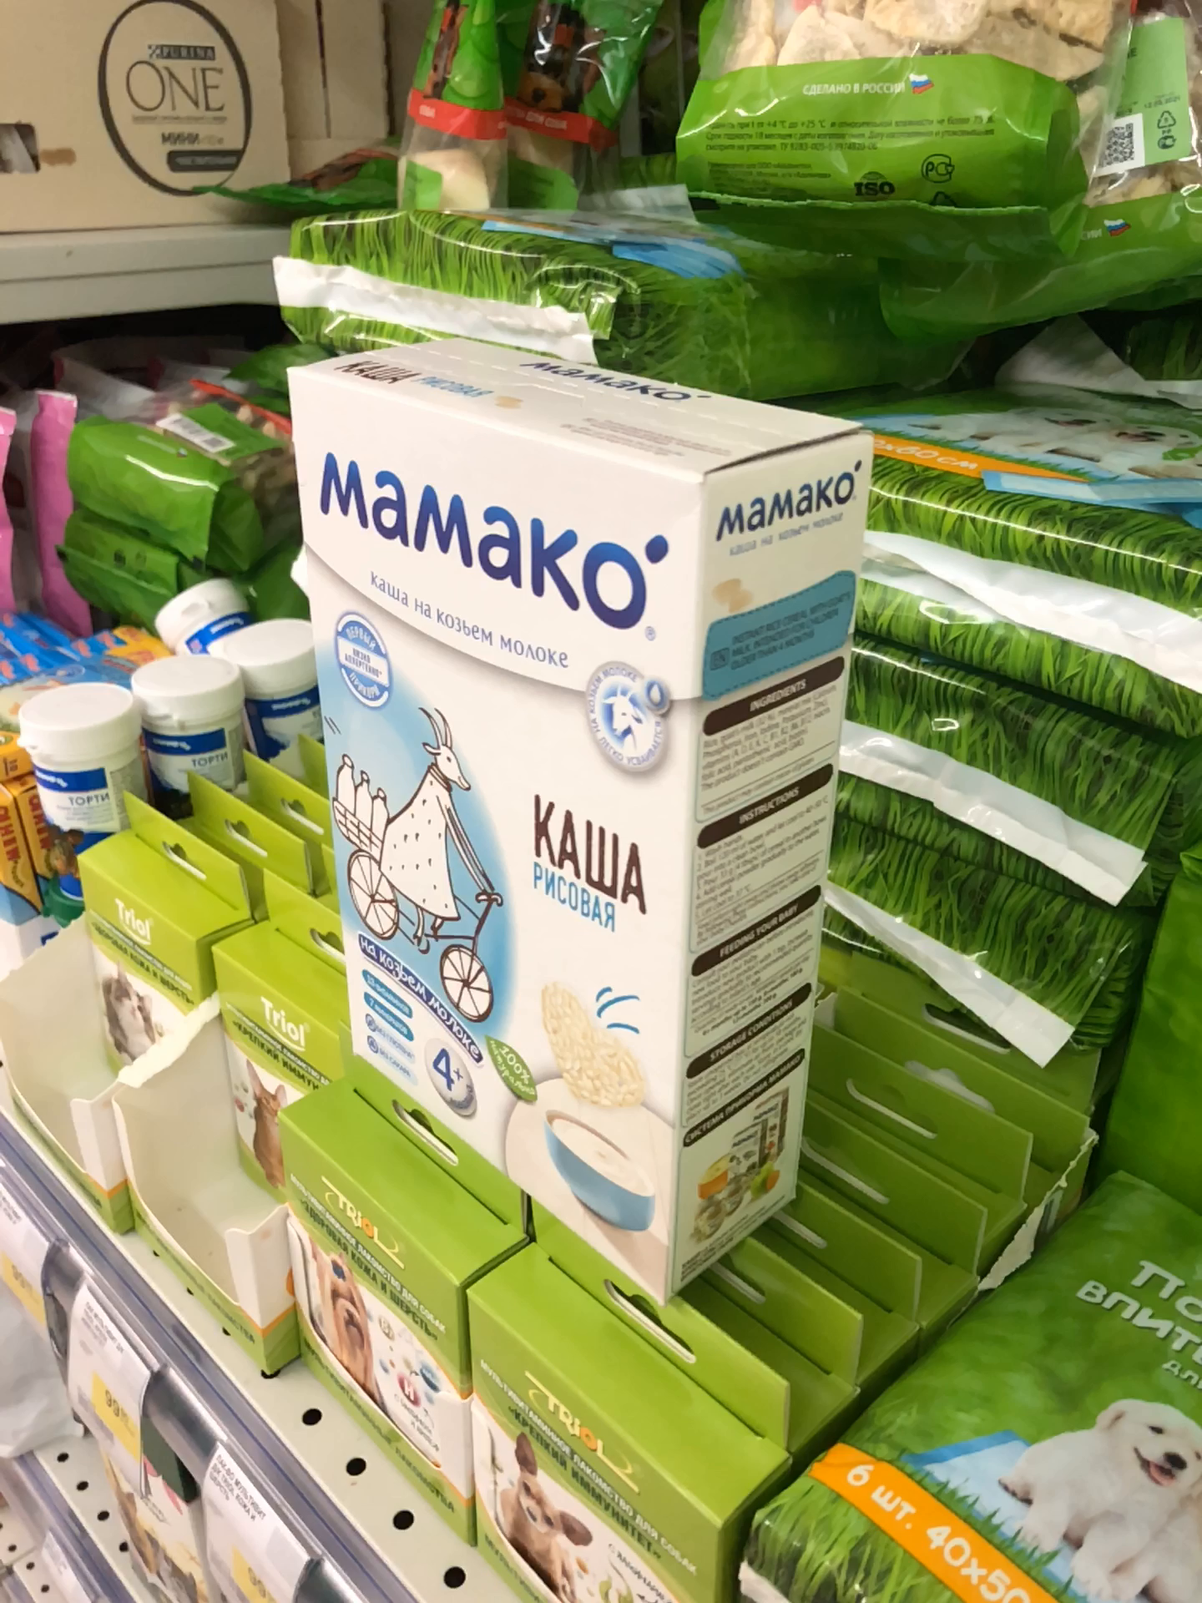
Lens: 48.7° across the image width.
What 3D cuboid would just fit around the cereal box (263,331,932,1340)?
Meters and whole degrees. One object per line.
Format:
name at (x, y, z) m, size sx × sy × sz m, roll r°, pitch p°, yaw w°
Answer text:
cereal box at (-0.009, 0.002, 0.323) m, size 0.060 × 0.199 × 0.140 m, roll -23°, pitch 36°, yaw -38°
